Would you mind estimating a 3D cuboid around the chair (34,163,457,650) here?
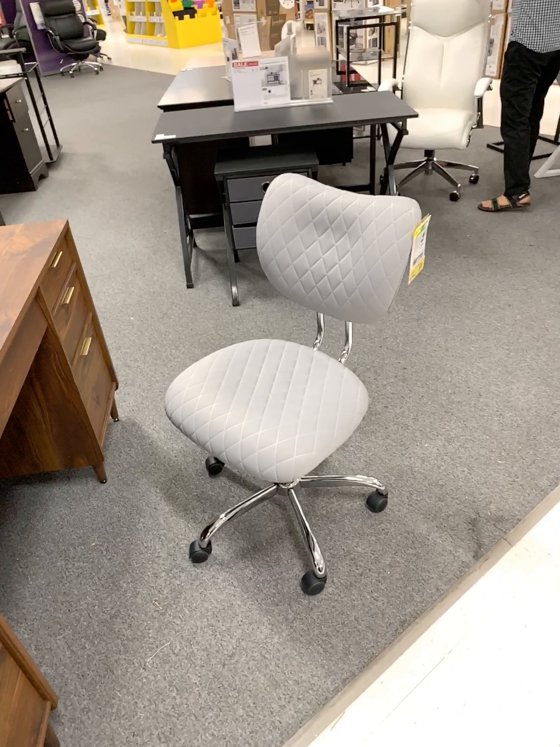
[{"bbox_3d":[-0.040,0.040,1.463,0.632,0.875,0.642,26,46,35],"label":"chair"}]
